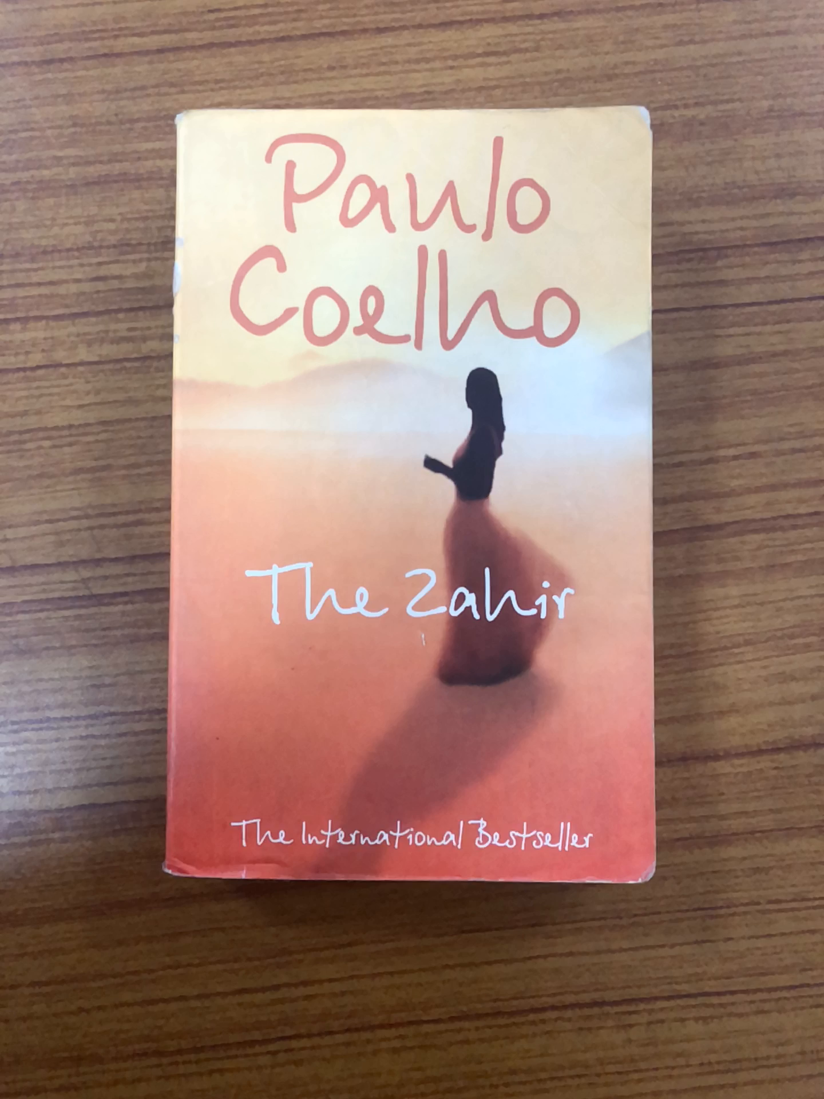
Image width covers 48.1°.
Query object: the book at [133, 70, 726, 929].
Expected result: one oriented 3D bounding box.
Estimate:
[{"bbox_3d":[0.005,-0.011,0.218,0.120,0.040,0.180,3,87,-1],"label":"book"}]
